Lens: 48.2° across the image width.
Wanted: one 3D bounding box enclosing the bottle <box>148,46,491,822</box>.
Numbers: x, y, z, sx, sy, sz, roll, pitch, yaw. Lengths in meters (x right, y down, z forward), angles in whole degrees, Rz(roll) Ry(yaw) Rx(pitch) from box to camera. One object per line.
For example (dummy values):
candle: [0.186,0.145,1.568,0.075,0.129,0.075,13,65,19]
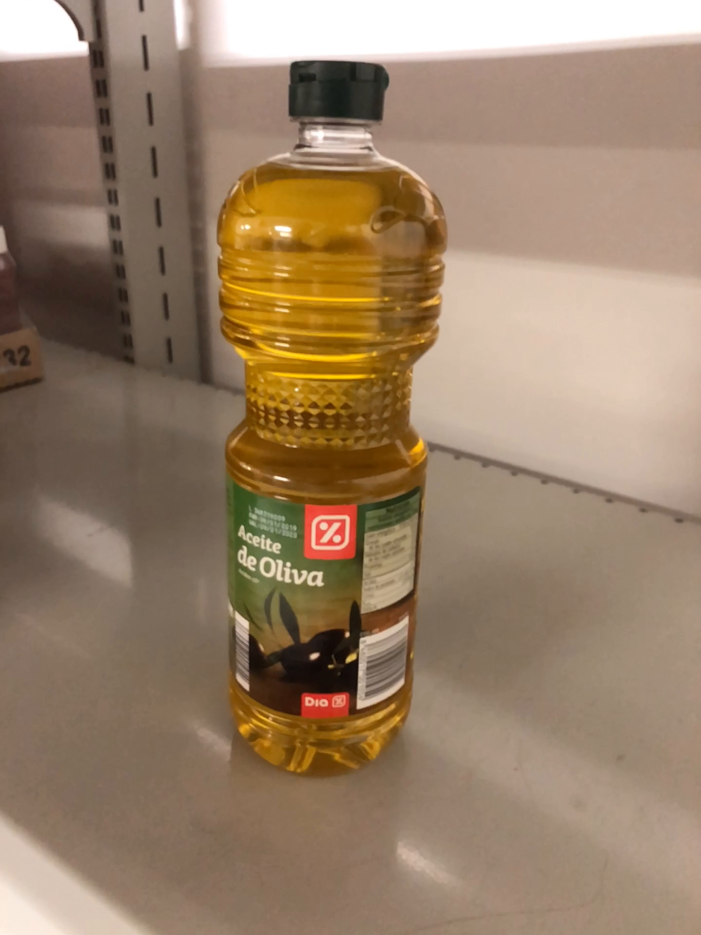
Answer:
bottle: [-0.009,-0.002,0.271,0.080,0.248,0.060,9,26,16]
